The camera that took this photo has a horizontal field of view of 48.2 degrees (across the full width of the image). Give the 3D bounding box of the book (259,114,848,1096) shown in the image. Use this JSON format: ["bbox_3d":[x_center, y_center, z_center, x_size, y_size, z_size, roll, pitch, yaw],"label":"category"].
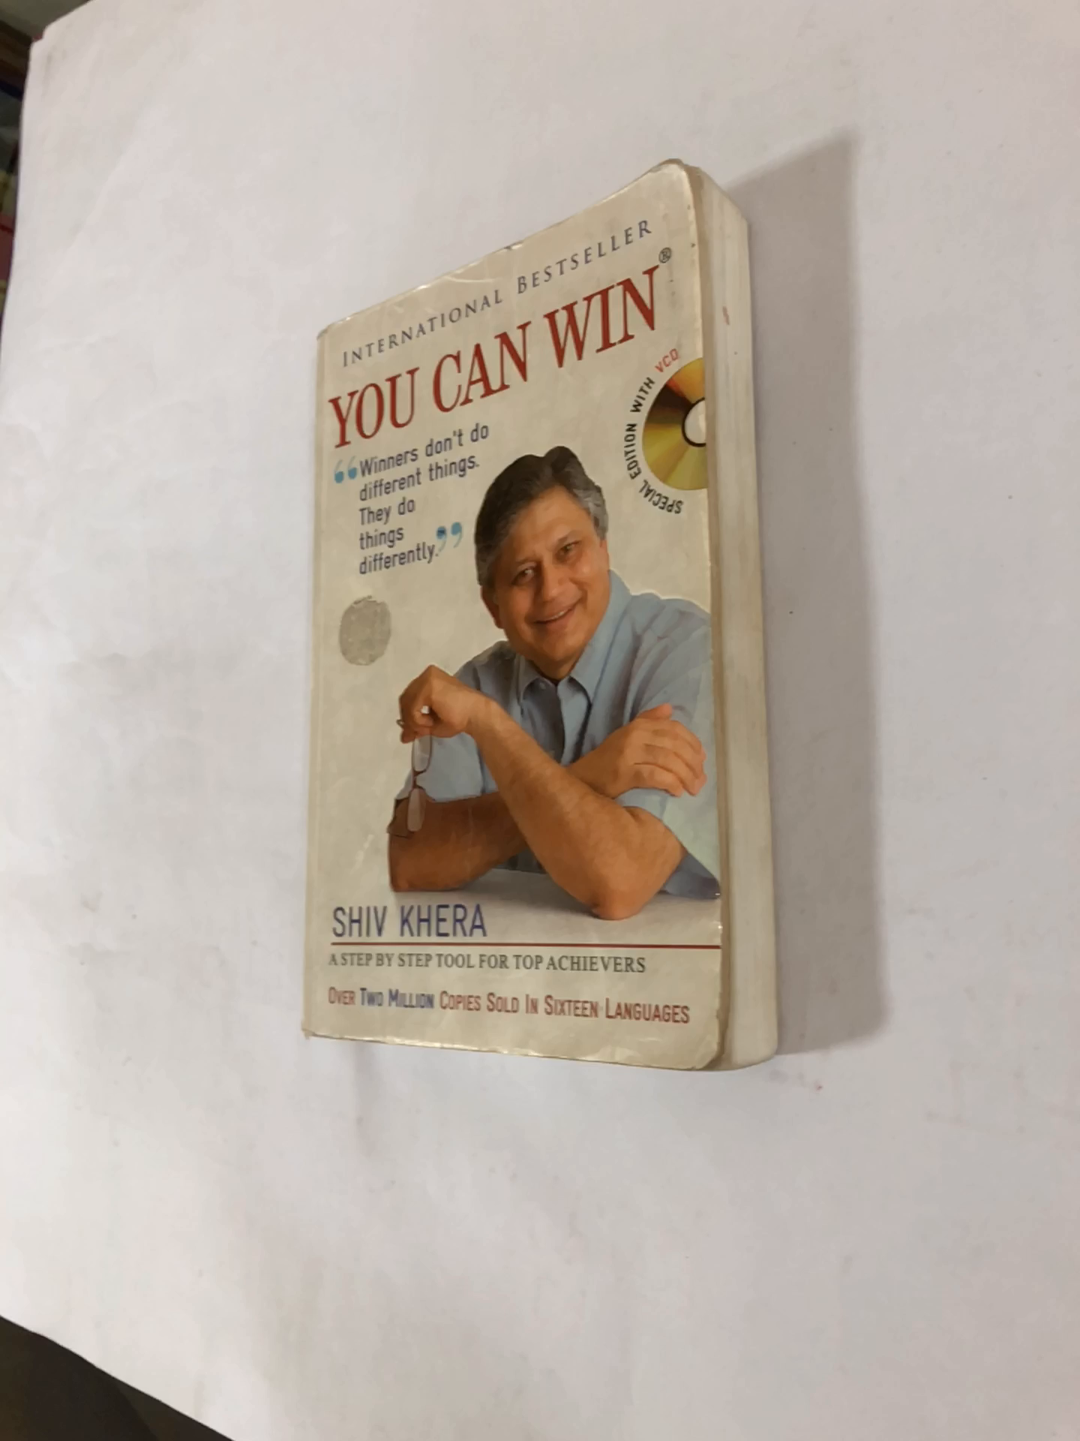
[{"bbox_3d":[-0.006,-0.020,0.312,0.151,0.040,0.210,-8,79,37],"label":"book"}]
